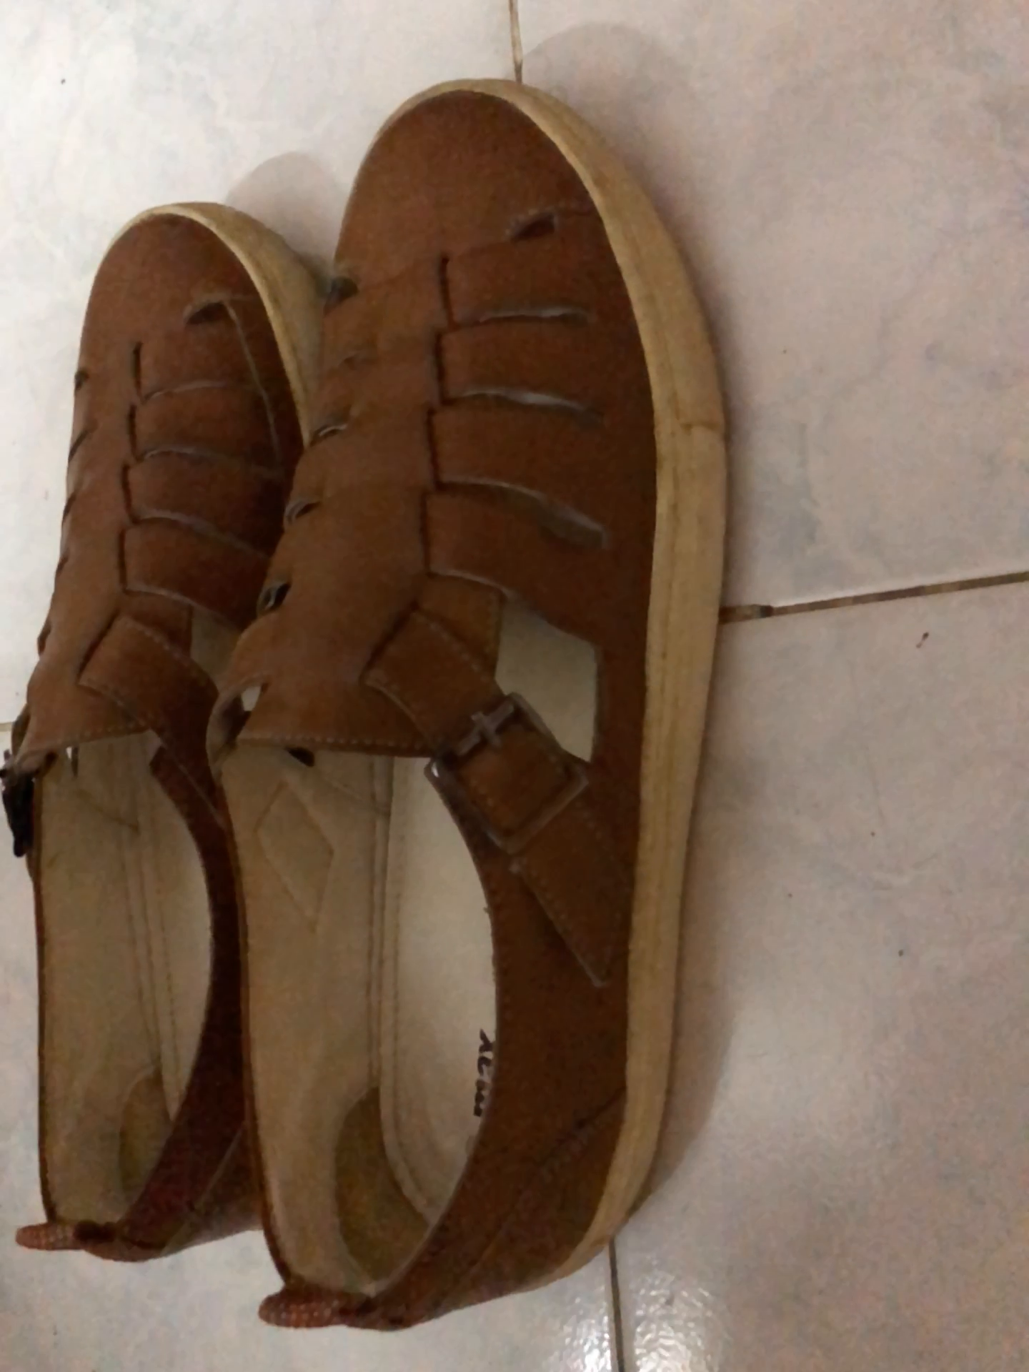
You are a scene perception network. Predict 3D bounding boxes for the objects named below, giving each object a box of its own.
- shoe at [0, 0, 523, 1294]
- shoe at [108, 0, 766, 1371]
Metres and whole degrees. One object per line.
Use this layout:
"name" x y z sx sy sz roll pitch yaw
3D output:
"shoe" -0.089 -0.010 0.327 0.110 0.100 0.300 -12 81 31
"shoe" -0.018 -0.015 0.276 0.110 0.100 0.300 -5 85 32
